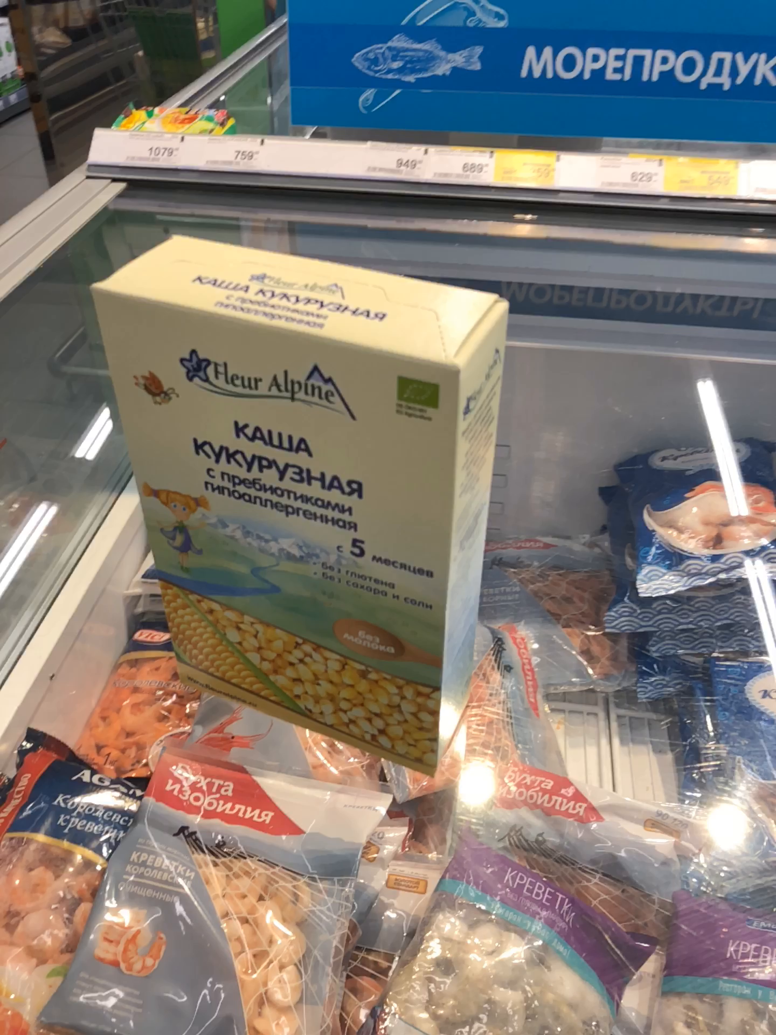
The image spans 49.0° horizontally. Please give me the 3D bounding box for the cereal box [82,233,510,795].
[{"bbox_3d":[-0.031,0.007,0.342,0.130,0.209,0.050,15,41,18],"label":"cereal box"}]
